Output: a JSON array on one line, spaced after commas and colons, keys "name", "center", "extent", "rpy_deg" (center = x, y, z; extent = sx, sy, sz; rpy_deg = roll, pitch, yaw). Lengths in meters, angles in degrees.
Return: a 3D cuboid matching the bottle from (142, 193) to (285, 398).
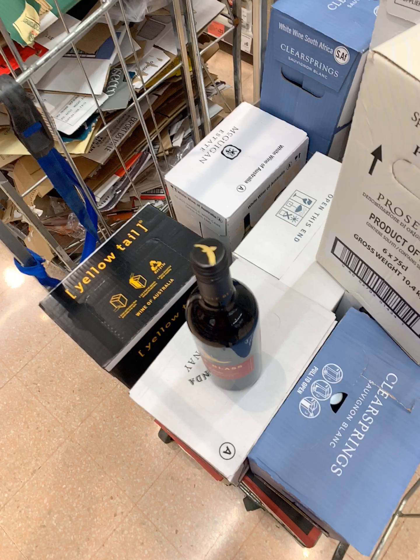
[{"name": "bottle", "center": [0.014, 0.039, 0.437], "extent": [0.080, 0.271, 0.076], "rpy_deg": [-2, 62, 4]}]
